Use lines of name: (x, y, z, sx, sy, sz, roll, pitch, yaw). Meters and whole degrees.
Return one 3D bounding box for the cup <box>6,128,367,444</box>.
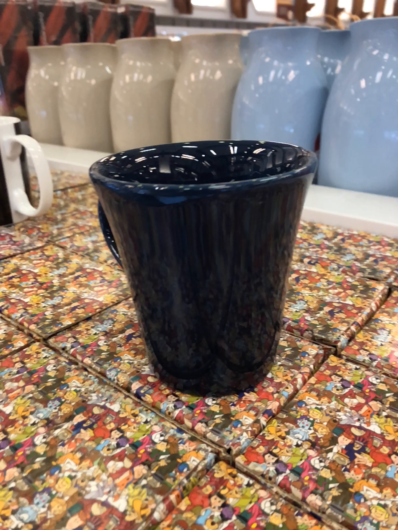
cup: (-0.004, -0.009, 0.210, 0.120, 0.089, 0.100, 17, 30, 35)
